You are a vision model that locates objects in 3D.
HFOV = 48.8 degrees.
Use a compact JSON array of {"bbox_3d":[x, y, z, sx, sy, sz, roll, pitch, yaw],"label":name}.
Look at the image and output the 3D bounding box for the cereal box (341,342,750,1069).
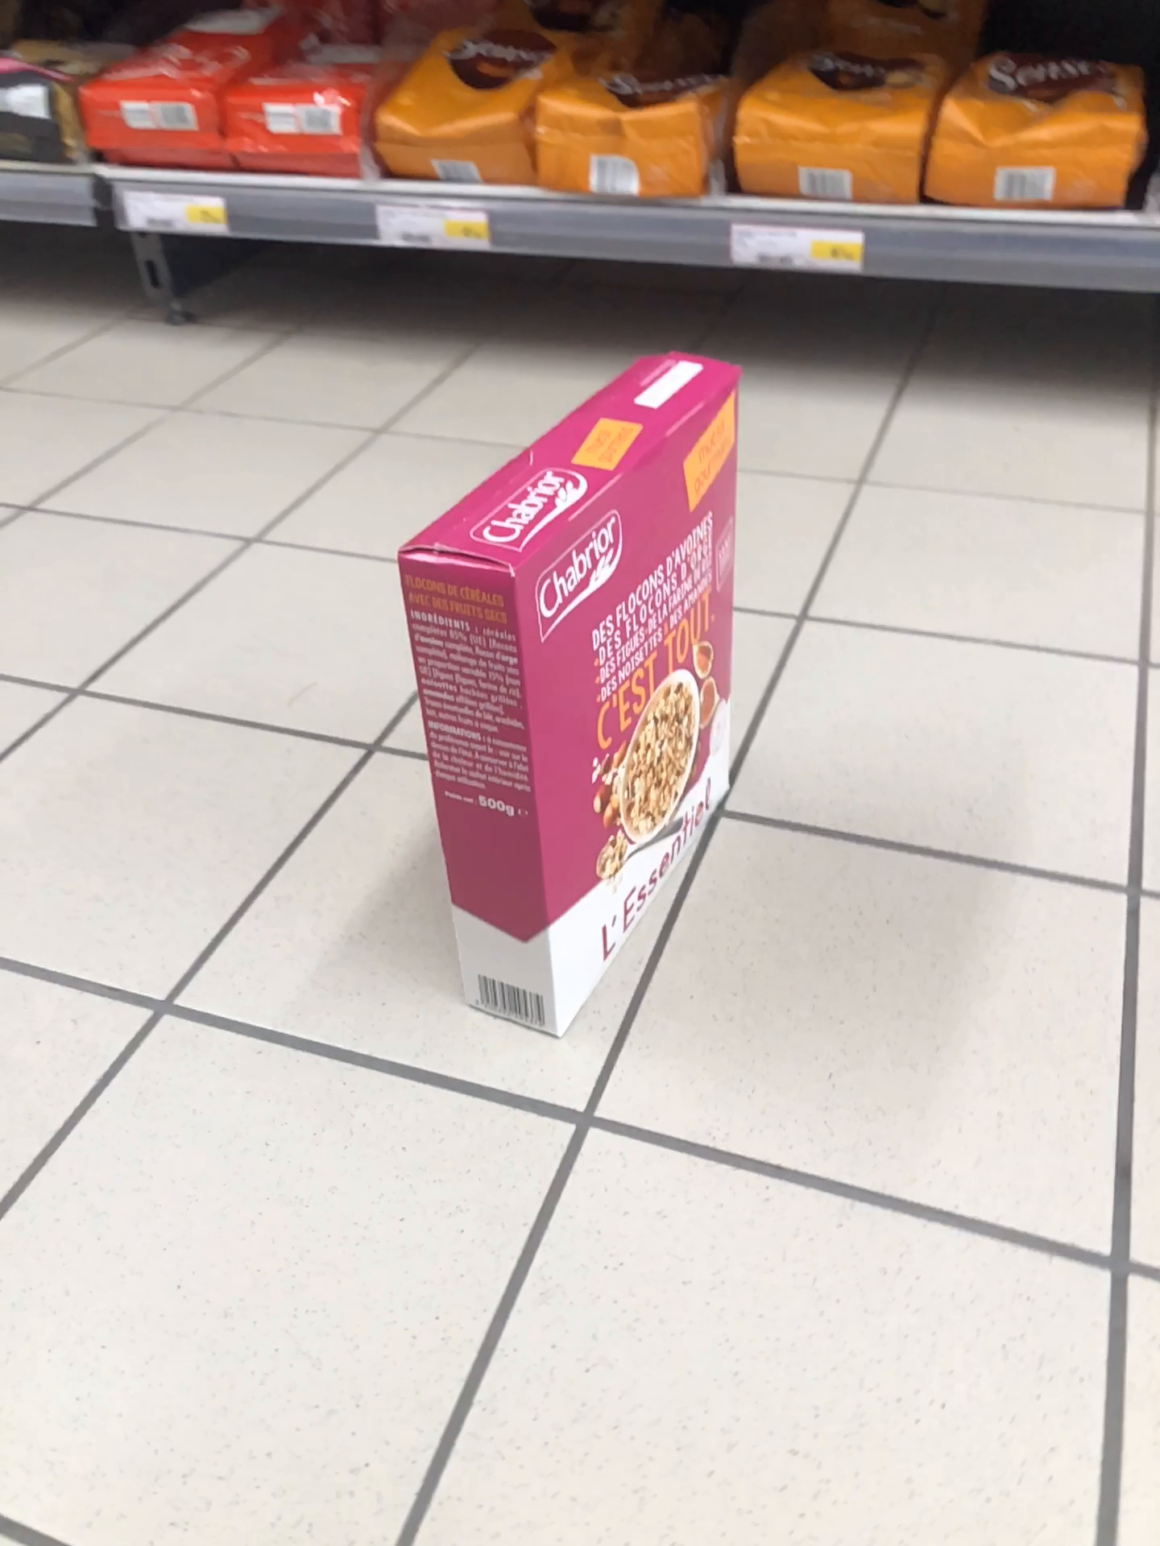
[{"bbox_3d":[0.003,-0.034,0.549,0.060,0.229,0.211,15,41,23],"label":"cereal box"}]
